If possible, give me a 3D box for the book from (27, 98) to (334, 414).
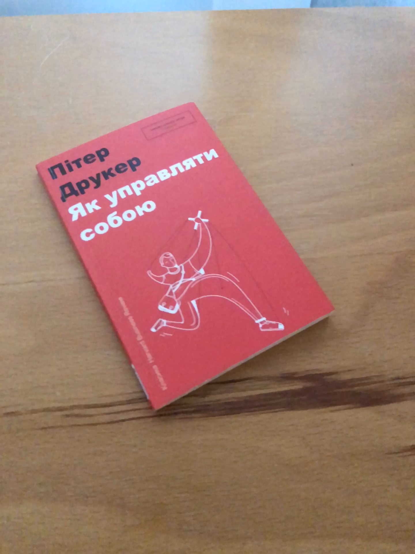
[{"bbox_3d":[-0.021,-0.024,0.265,0.112,0.013,0.164,-26,69,-12],"label":"book"}]
